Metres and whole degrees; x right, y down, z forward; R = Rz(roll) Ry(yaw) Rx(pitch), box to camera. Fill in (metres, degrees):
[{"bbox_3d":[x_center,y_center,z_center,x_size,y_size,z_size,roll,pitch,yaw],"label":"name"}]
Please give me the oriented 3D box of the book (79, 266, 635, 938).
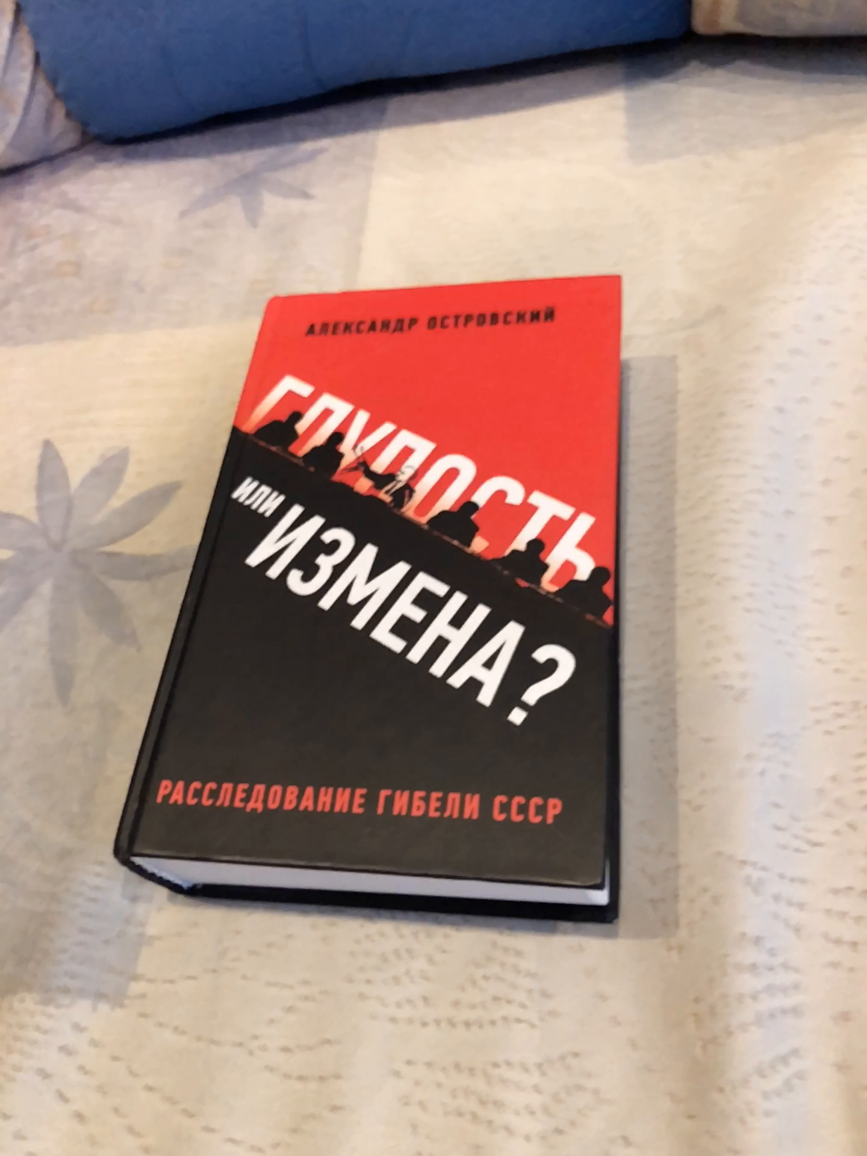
[{"bbox_3d":[-0.007,-0.003,0.299,0.135,0.050,0.201,0,58,12],"label":"book"}]
